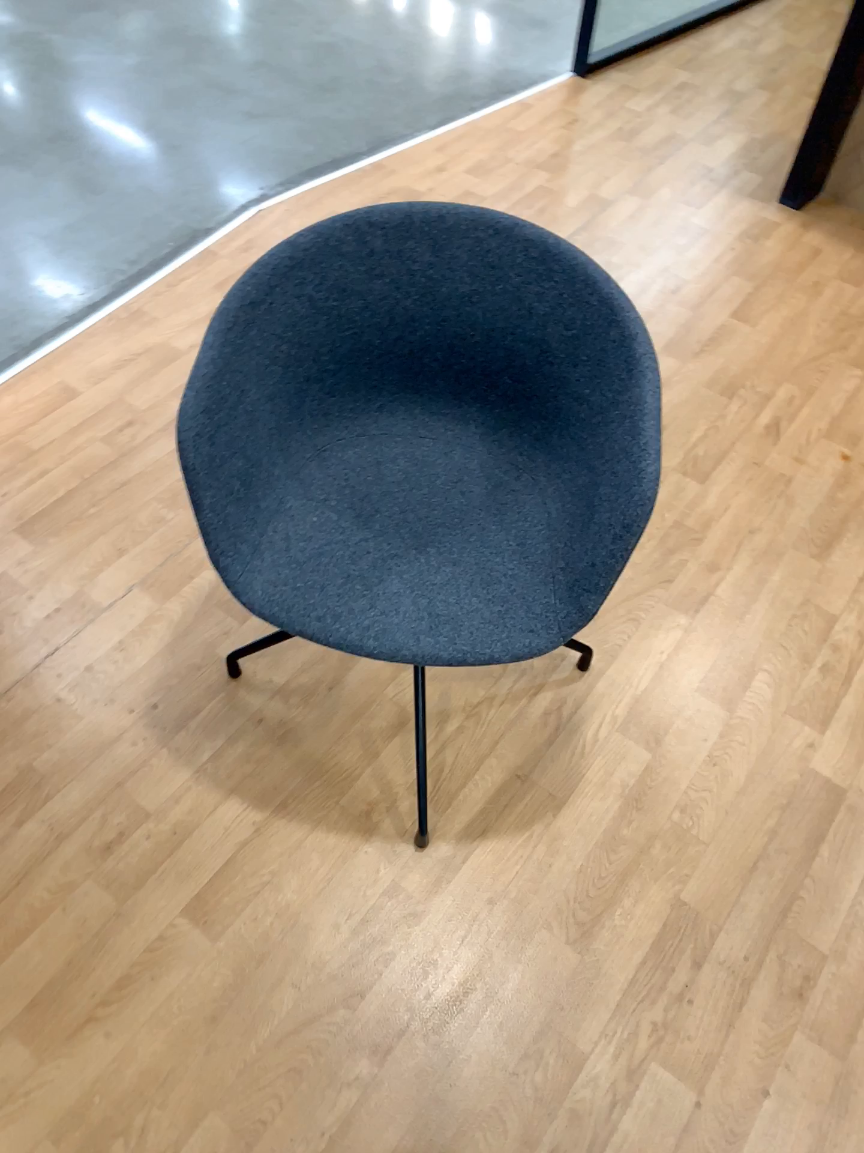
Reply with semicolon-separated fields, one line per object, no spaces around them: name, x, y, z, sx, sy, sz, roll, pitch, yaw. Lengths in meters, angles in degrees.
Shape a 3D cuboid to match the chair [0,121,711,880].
chair;-0.055;-0.105;1.284;0.710;0.685;0.735;10;52;5
